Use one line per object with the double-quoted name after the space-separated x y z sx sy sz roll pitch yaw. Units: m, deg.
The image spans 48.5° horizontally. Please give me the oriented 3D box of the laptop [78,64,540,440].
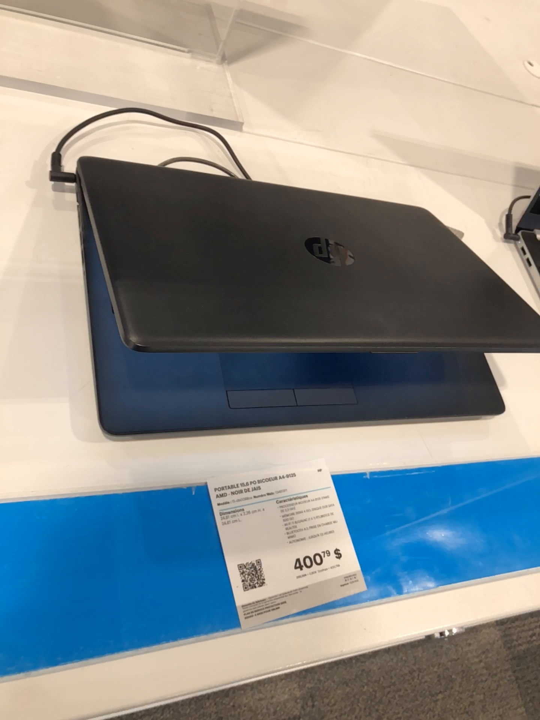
0.048 -0.077 0.482 0.366 0.092 0.234 0 61 -31 "laptop"
